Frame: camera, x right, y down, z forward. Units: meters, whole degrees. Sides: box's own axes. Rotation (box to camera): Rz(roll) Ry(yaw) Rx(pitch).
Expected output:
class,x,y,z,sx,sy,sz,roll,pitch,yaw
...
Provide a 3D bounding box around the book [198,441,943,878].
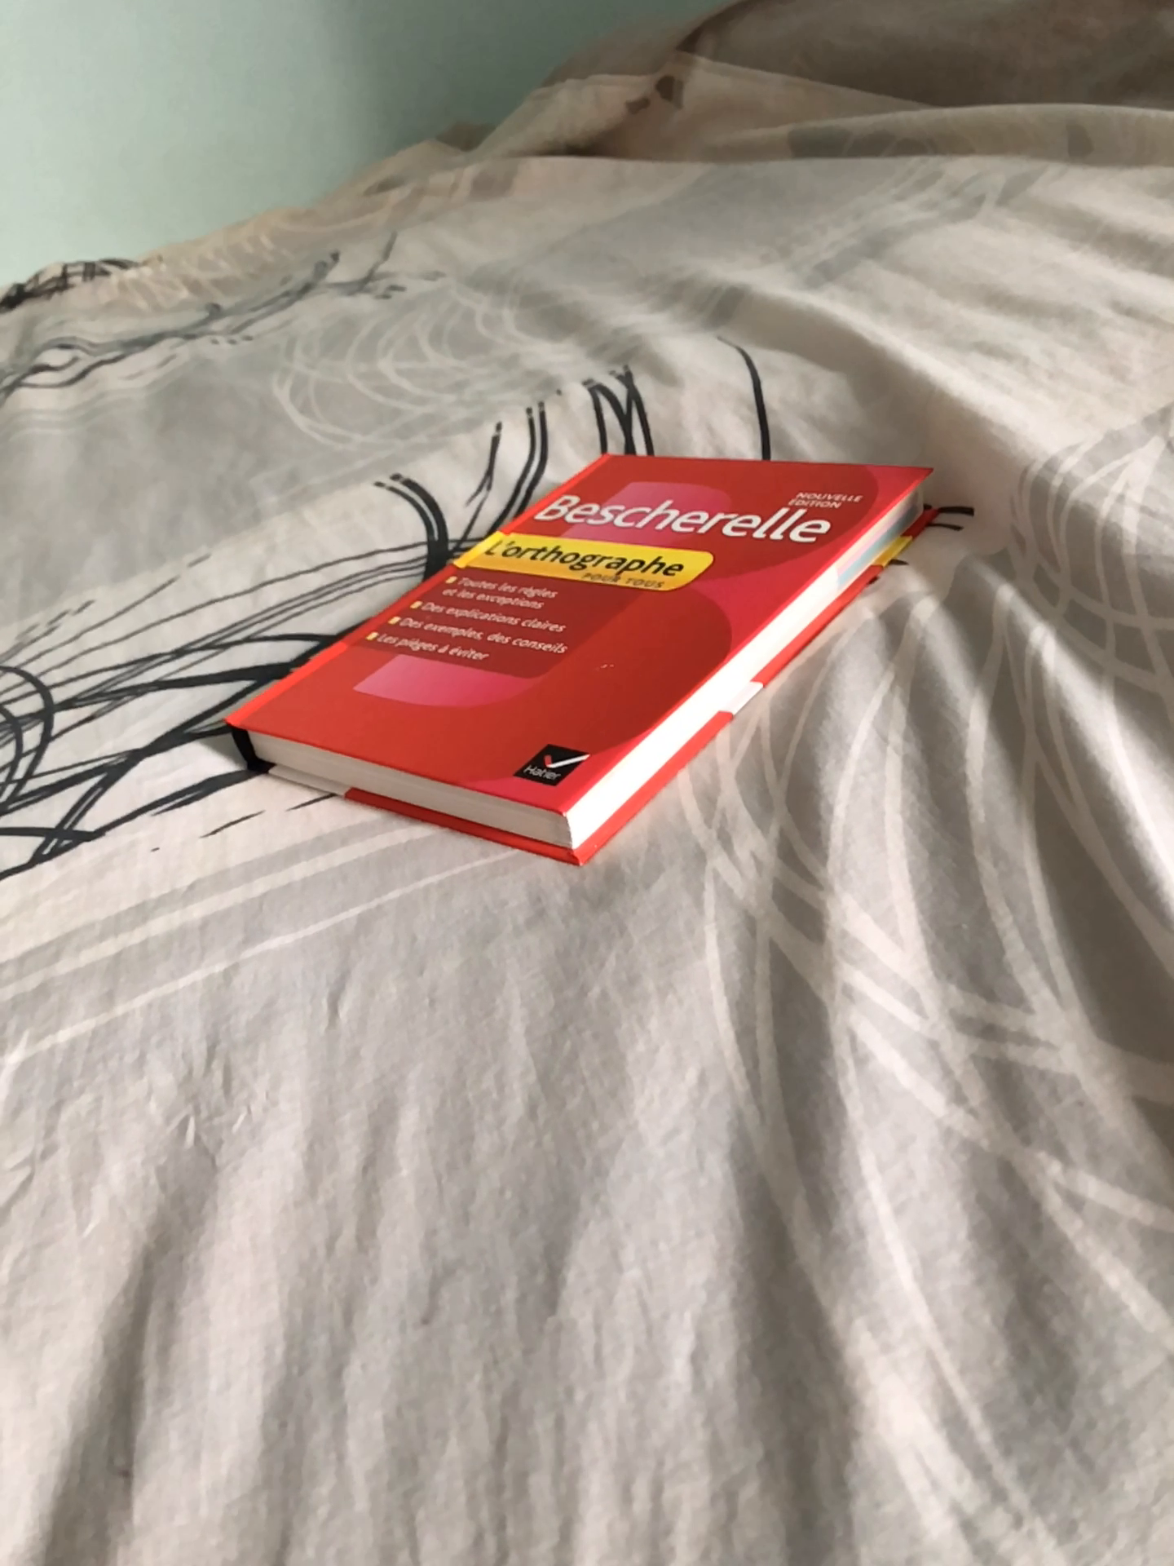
class,x,y,z,sx,sy,sz,roll,pitch,yaw
book,-0.001,-0.053,0.396,0.143,0.023,0.190,12,43,40
